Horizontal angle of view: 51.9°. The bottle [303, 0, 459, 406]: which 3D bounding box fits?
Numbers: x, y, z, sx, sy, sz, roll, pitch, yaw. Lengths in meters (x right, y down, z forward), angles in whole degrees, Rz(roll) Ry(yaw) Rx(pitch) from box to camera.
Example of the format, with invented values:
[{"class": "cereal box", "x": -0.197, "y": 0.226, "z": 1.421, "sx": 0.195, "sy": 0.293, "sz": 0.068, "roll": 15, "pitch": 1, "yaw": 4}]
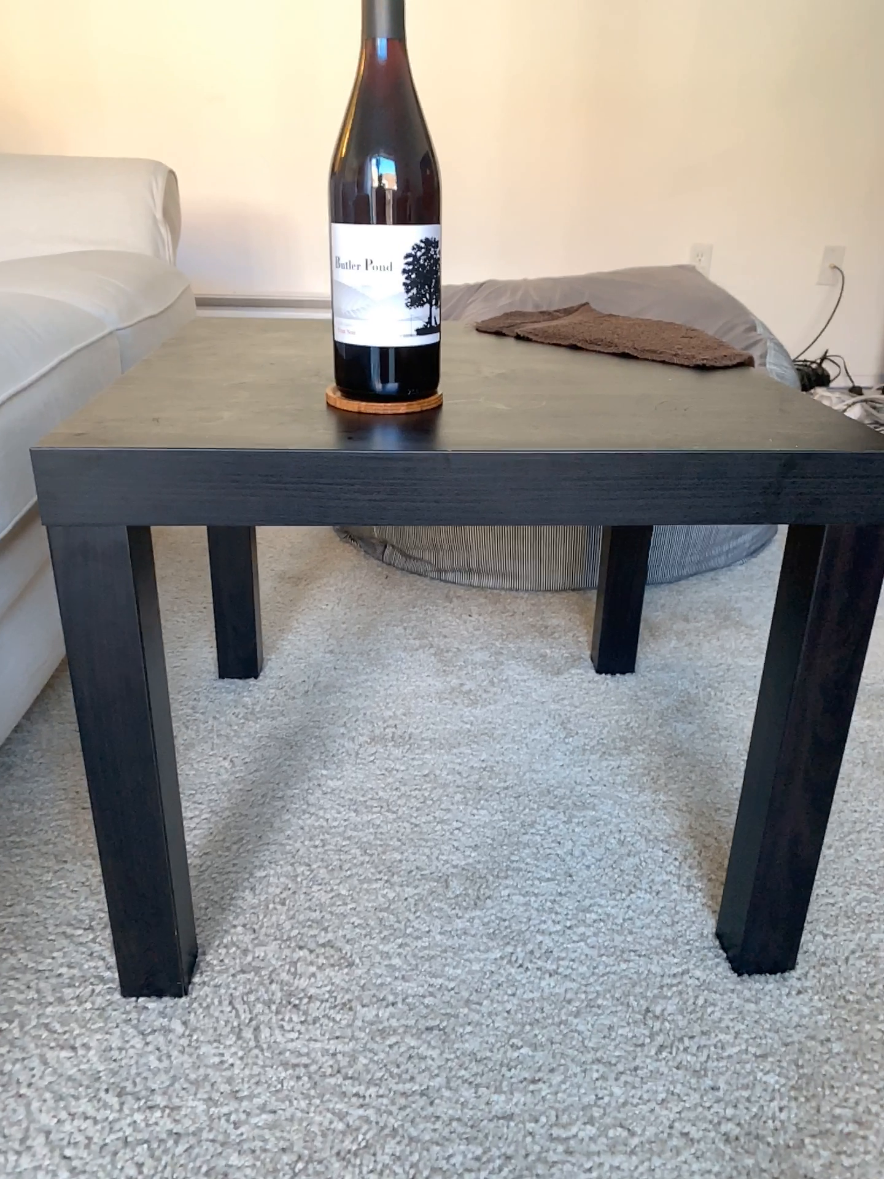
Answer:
[{"class": "bottle", "x": -0.038, "y": -0.261, "z": 0.567, "sx": 0.080, "sy": 0.269, "sz": 0.101, "roll": 1, "pitch": 24, "yaw": -2}]
